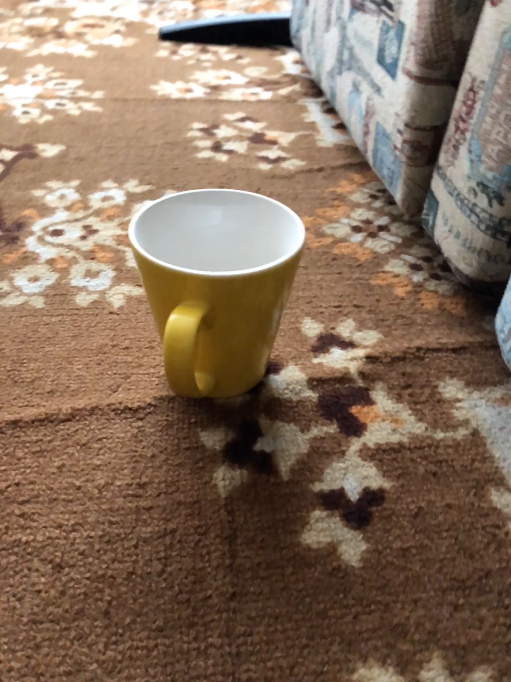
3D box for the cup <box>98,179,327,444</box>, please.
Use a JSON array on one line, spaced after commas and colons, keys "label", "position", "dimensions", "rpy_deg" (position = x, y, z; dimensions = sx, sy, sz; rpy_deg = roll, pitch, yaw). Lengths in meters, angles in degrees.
[{"label": "cup", "position": [-0.022, -0.021, 0.317], "dimensions": [0.097, 0.088, 0.126], "rpy_deg": [2, 39, -3]}]
